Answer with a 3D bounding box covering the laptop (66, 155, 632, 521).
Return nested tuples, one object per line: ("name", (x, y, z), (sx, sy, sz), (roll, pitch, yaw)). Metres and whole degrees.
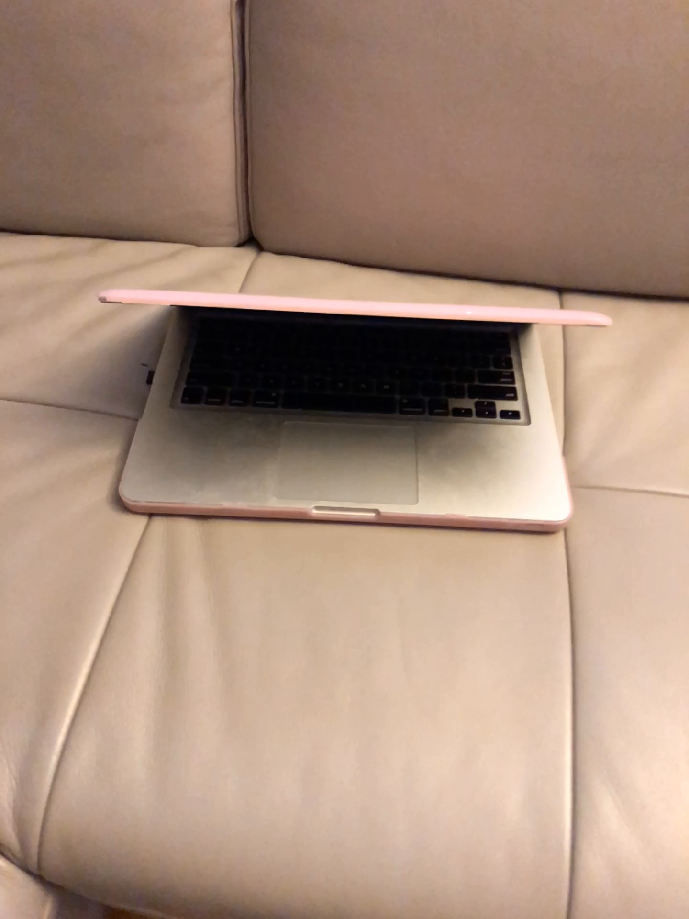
("laptop", (0.006, -0.091, 0.541), (0.307, 0.145, 0.220), (2, 50, 1))
